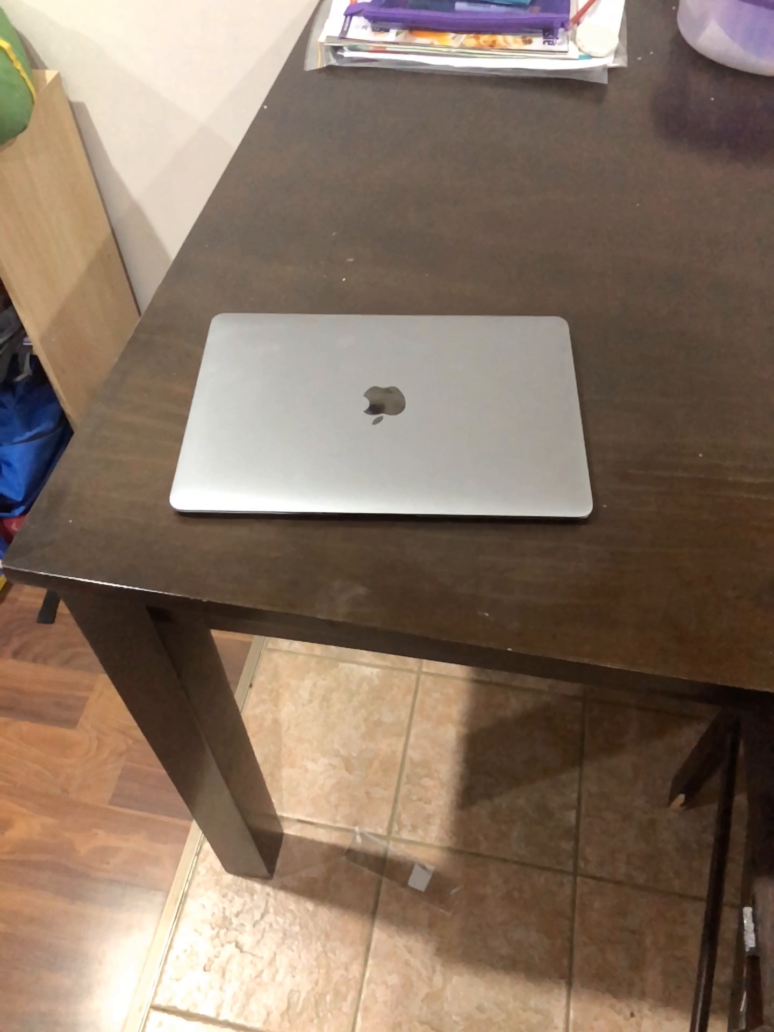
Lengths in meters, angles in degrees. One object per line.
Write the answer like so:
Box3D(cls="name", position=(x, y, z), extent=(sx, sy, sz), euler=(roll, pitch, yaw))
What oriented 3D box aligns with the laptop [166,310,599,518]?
Box3D(cls="laptop", position=(0.000, -0.079, 0.602), extent=(0.275, 0.002, 0.196), euler=(1, 52, 0))
